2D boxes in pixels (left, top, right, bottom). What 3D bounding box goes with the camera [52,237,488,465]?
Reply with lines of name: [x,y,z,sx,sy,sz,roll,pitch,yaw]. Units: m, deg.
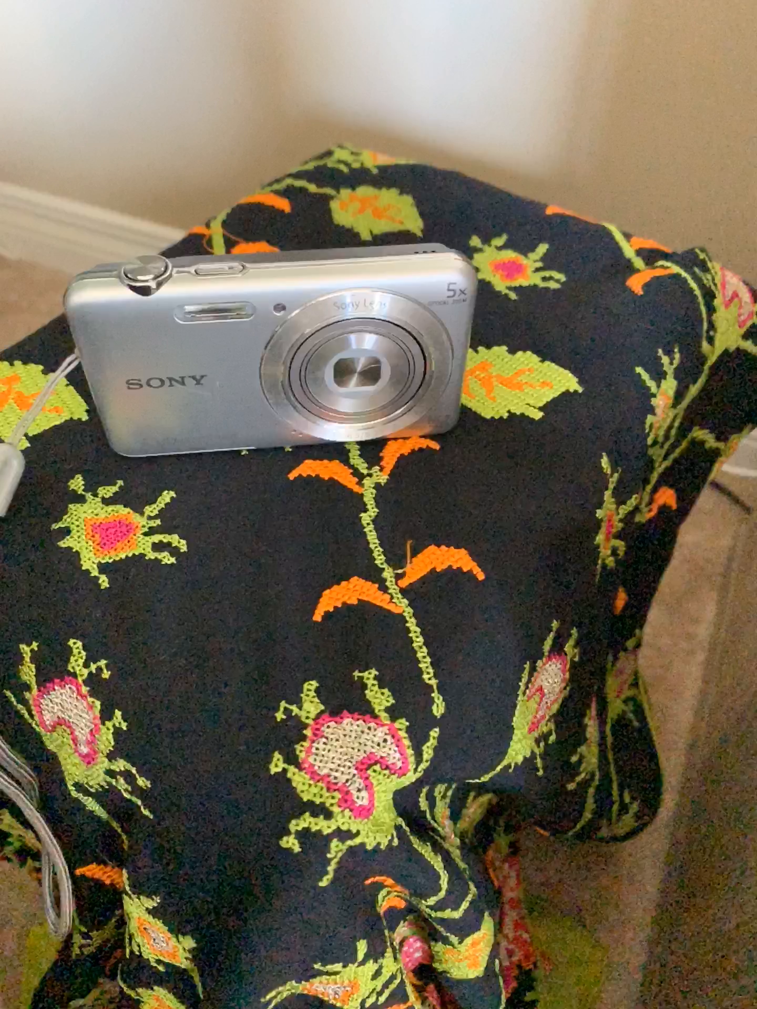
camera: [-0.022,-0.034,0.180,0.086,0.042,0.020,-5,49,-6]
